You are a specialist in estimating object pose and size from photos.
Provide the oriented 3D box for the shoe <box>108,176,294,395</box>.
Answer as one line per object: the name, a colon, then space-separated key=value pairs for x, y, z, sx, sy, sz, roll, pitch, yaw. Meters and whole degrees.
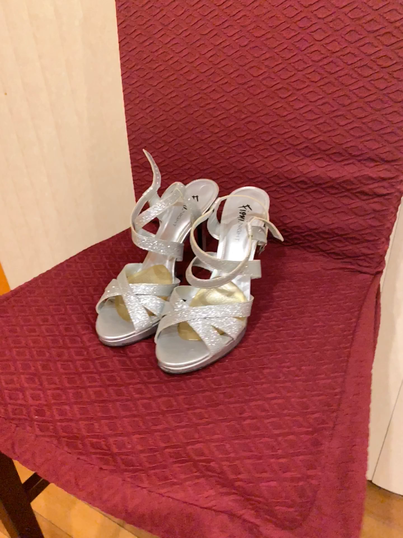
shoe: x=0.016 y=0.000 z=0.455 sx=0.100 sy=0.119 sz=0.221 roll=13 pitch=37 yaw=24

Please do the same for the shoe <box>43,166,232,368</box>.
shoe: x=-0.053 y=-0.020 z=0.493 sx=0.100 sy=0.119 sz=0.231 roll=12 pitch=37 yaw=22
